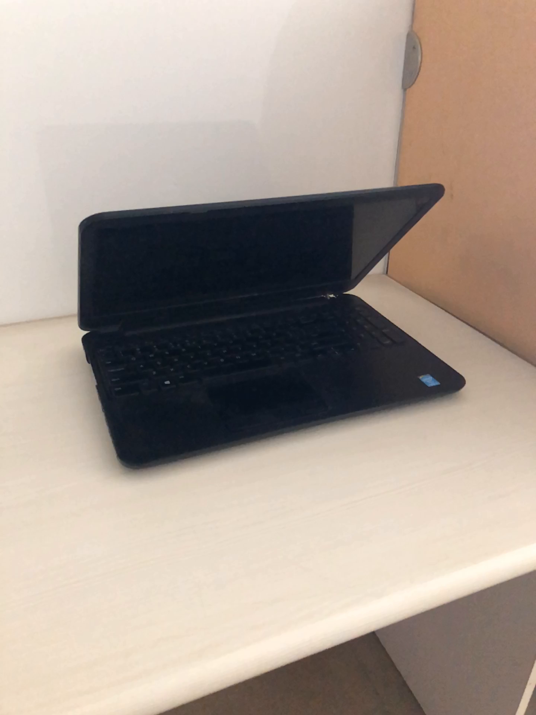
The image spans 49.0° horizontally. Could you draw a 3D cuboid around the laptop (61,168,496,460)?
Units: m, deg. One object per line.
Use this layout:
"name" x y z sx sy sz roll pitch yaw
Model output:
"laptop" -0.002 -0.078 0.628 0.365 0.177 0.248 -10 31 -22
